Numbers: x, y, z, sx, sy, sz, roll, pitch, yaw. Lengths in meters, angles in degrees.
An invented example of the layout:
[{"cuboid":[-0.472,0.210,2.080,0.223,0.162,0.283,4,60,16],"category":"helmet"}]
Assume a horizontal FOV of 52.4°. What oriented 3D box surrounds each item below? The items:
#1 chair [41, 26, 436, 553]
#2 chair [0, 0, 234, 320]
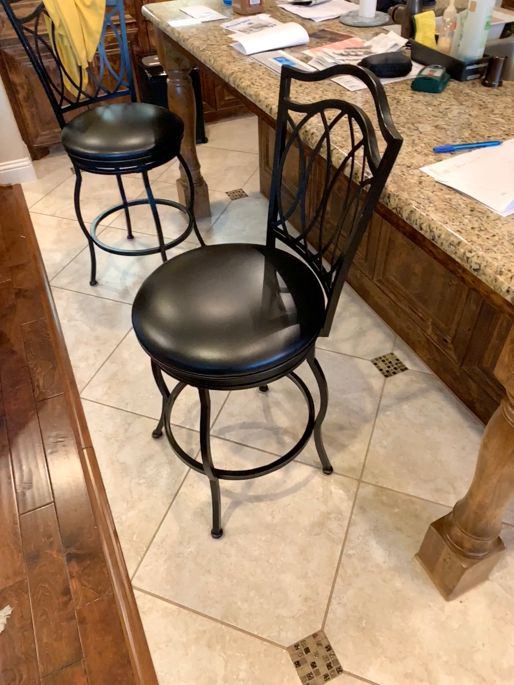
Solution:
[{"cuboid":[-0.042,-0.058,1.246,0.505,1.068,0.469,-21,47,-19],"category":"chair"},{"cuboid":[-0.488,-0.741,1.900,0.587,1.098,0.557,-17,46,-14],"category":"chair"}]
